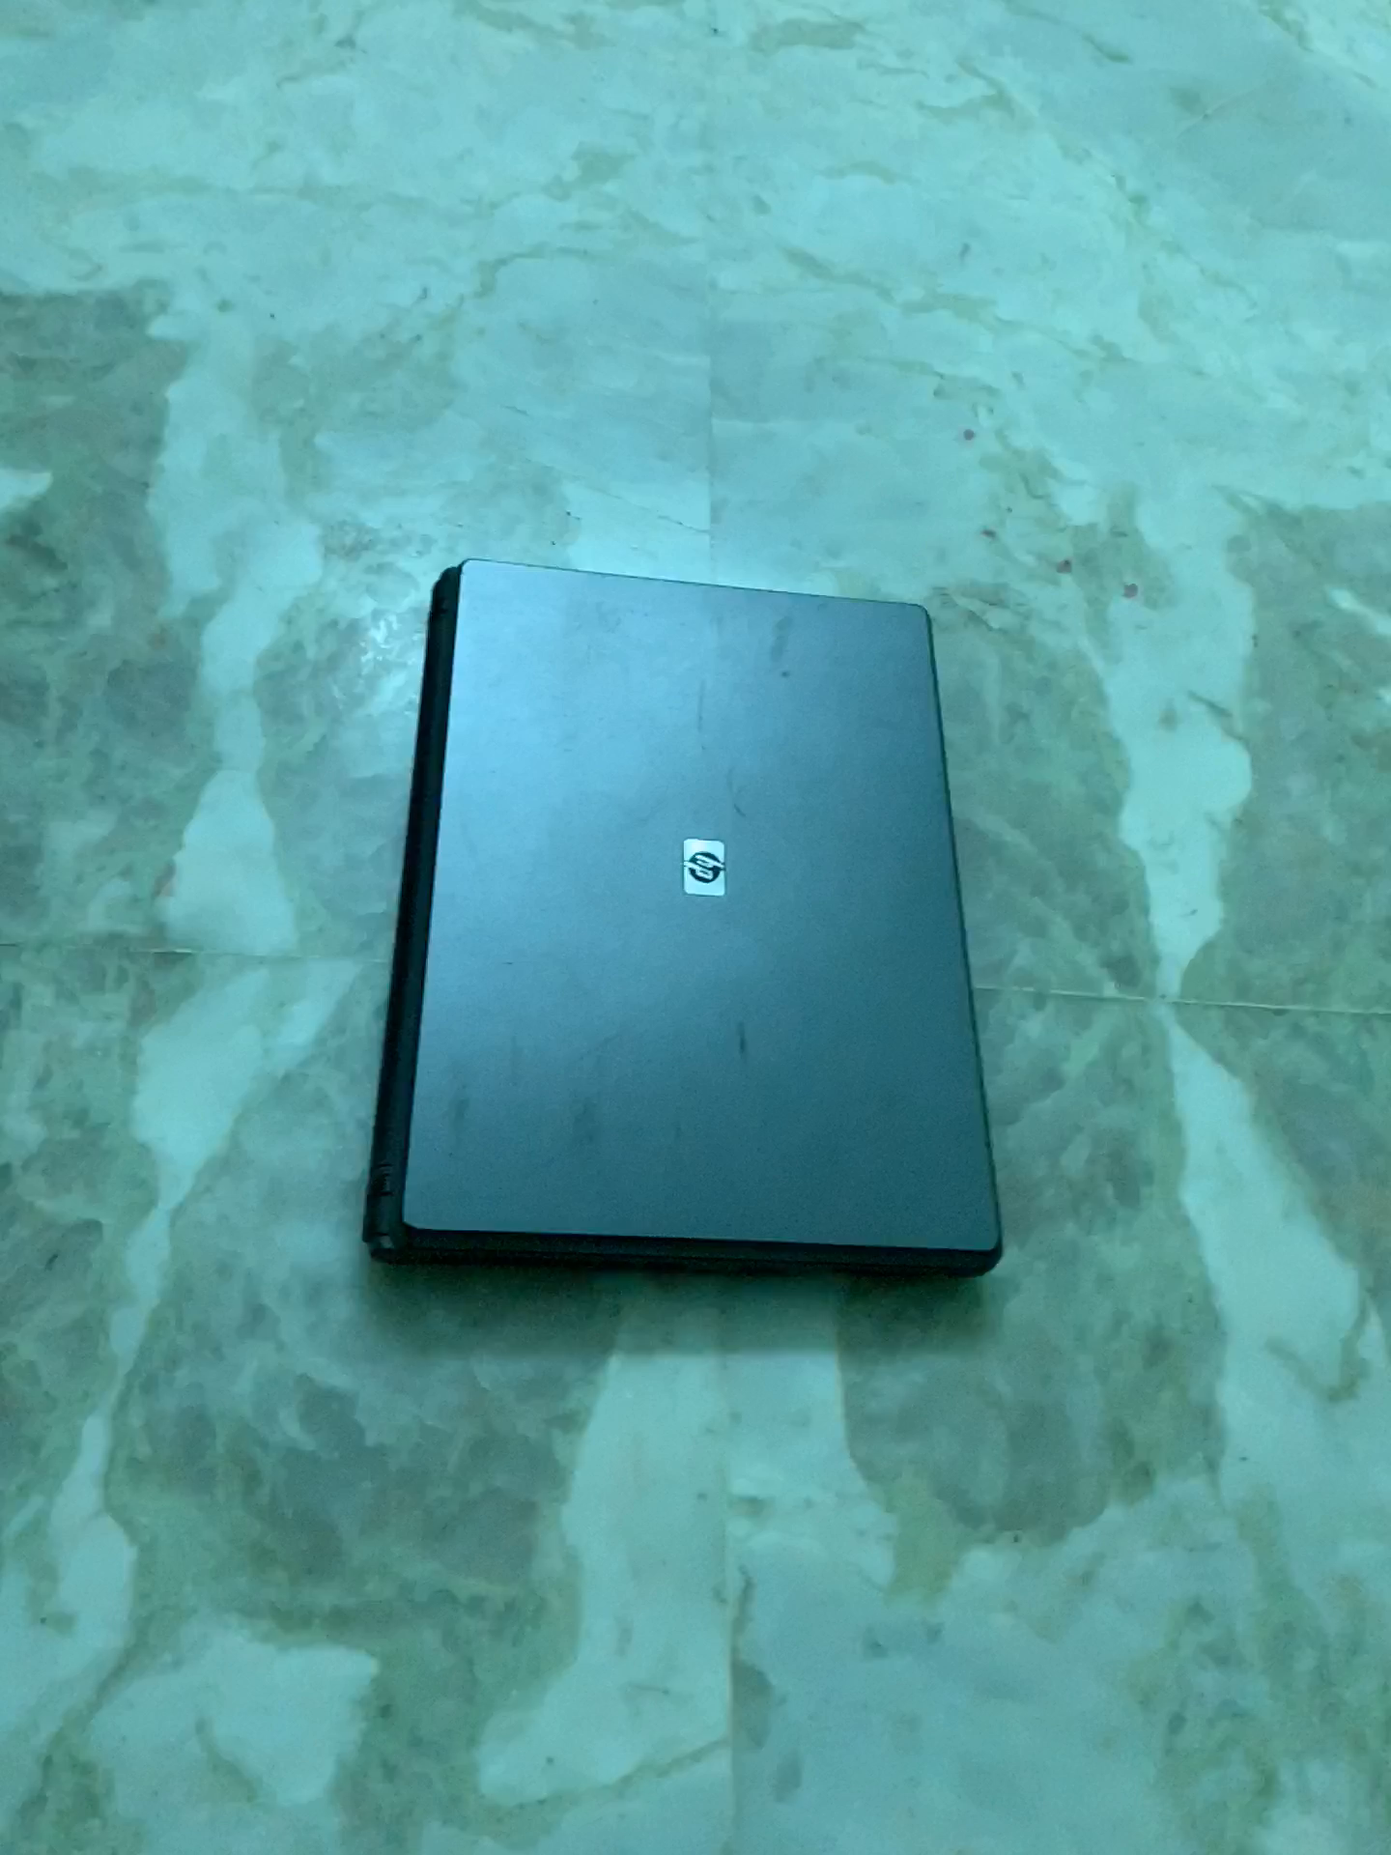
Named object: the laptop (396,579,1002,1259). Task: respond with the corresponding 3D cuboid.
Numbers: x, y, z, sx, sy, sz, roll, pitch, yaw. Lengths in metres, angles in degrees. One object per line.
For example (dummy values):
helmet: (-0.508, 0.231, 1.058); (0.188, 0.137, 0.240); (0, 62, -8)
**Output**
laptop: (0.004, -0.019, 0.600); (0.226, 0.001, 0.310); (4, 61, -6)
